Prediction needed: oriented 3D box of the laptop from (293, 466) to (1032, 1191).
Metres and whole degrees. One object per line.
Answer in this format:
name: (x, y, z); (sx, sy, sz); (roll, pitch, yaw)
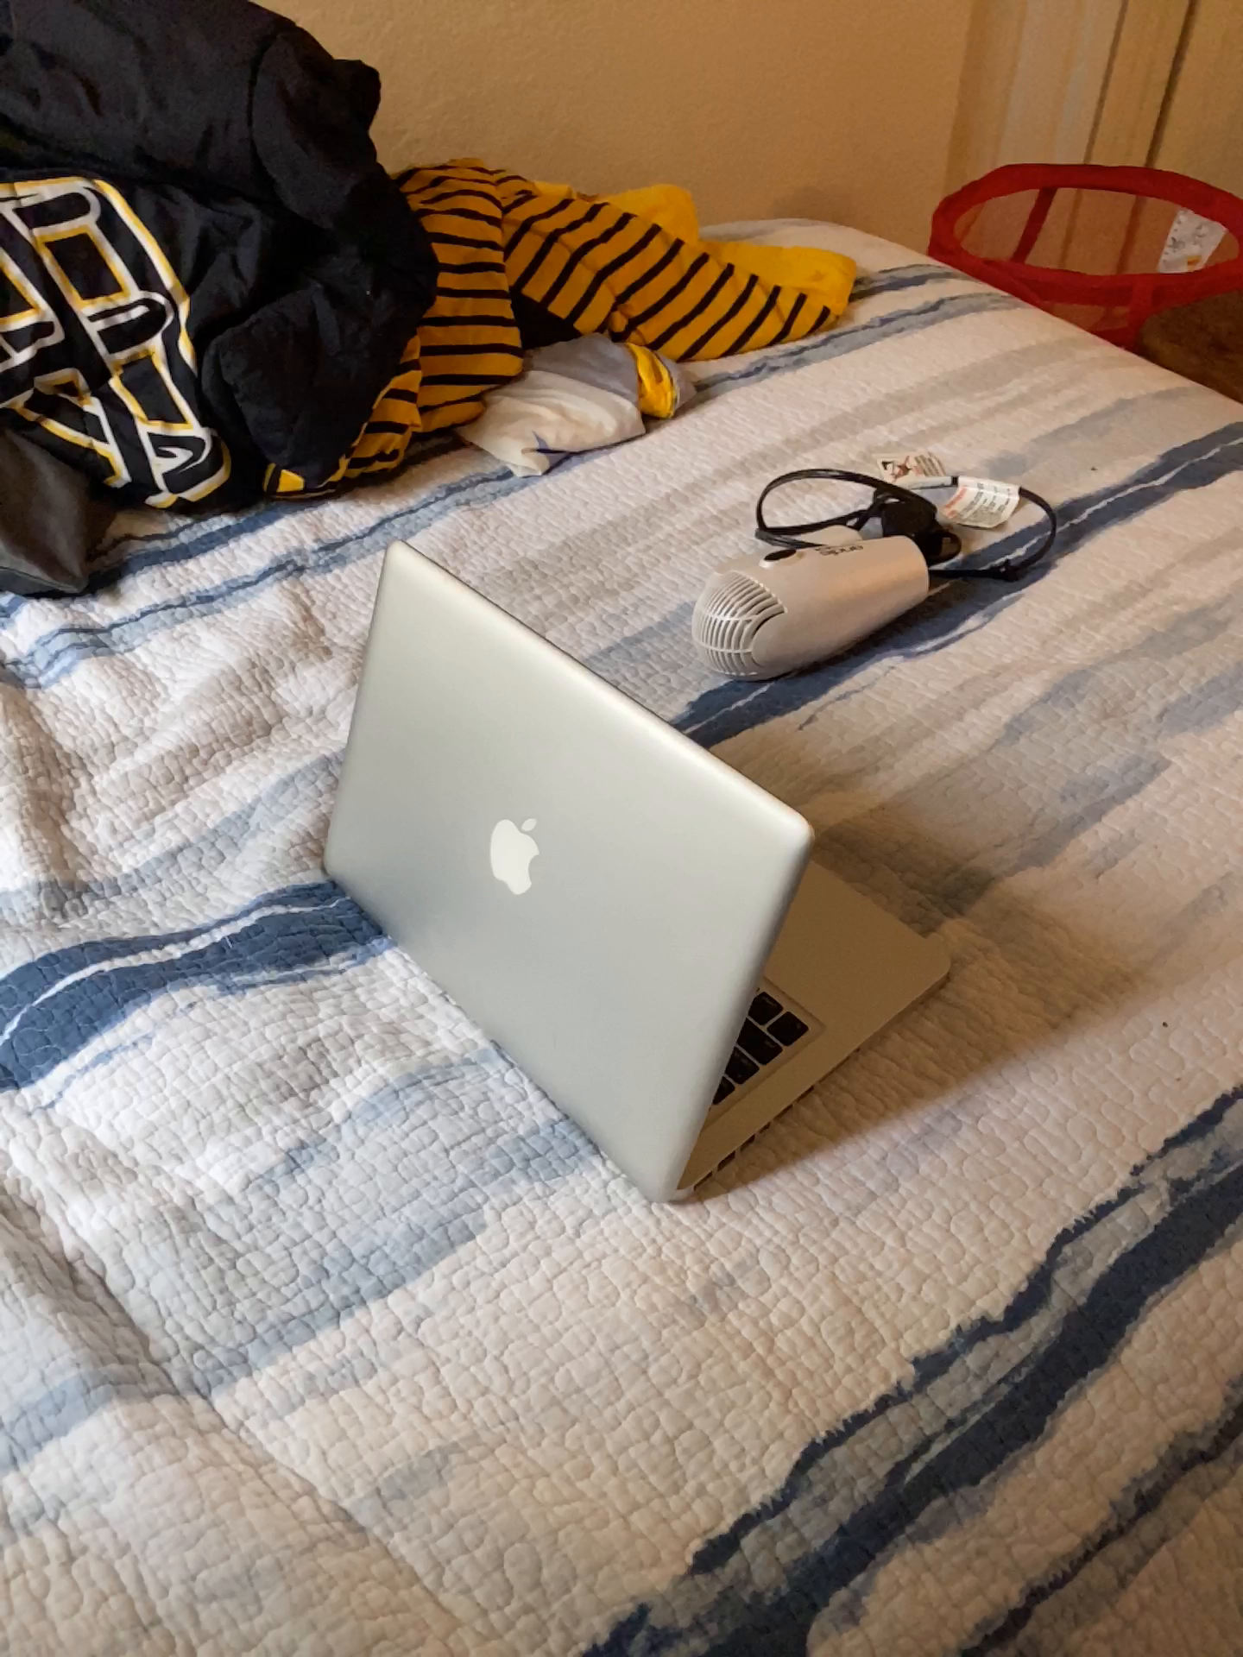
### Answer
laptop: (0.010, -0.019, 0.688); (0.215, 0.188, 0.301); (-31, 51, -27)
